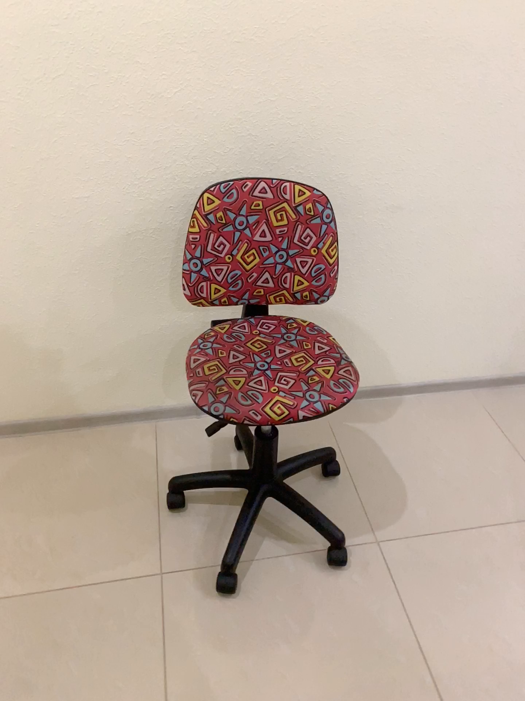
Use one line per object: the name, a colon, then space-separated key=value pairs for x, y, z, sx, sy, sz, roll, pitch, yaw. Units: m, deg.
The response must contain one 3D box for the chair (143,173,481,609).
chair: x=0.027 y=0.098 z=1.329 sx=0.550 sy=0.885 sz=0.543 roll=-5 pitch=37 yaw=-11
